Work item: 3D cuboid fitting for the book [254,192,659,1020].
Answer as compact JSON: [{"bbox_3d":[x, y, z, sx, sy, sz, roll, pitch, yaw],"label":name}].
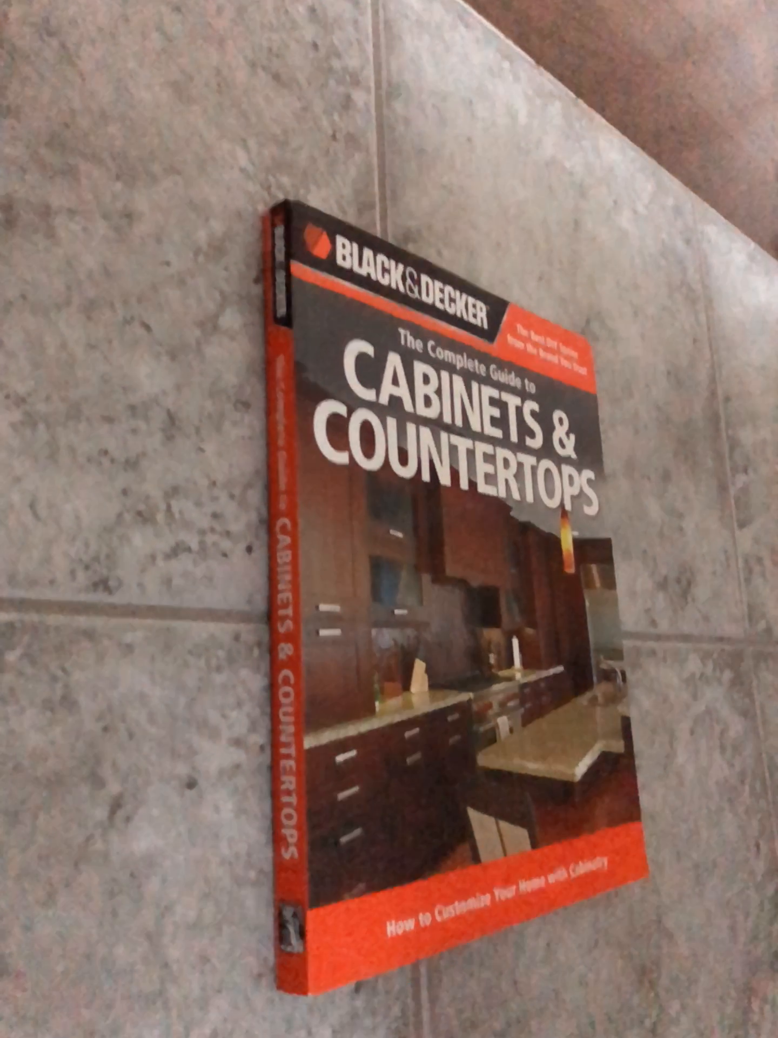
[{"bbox_3d":[0.039,0.030,0.376,0.217,0.022,0.281,9,73,-44],"label":"book"}]
